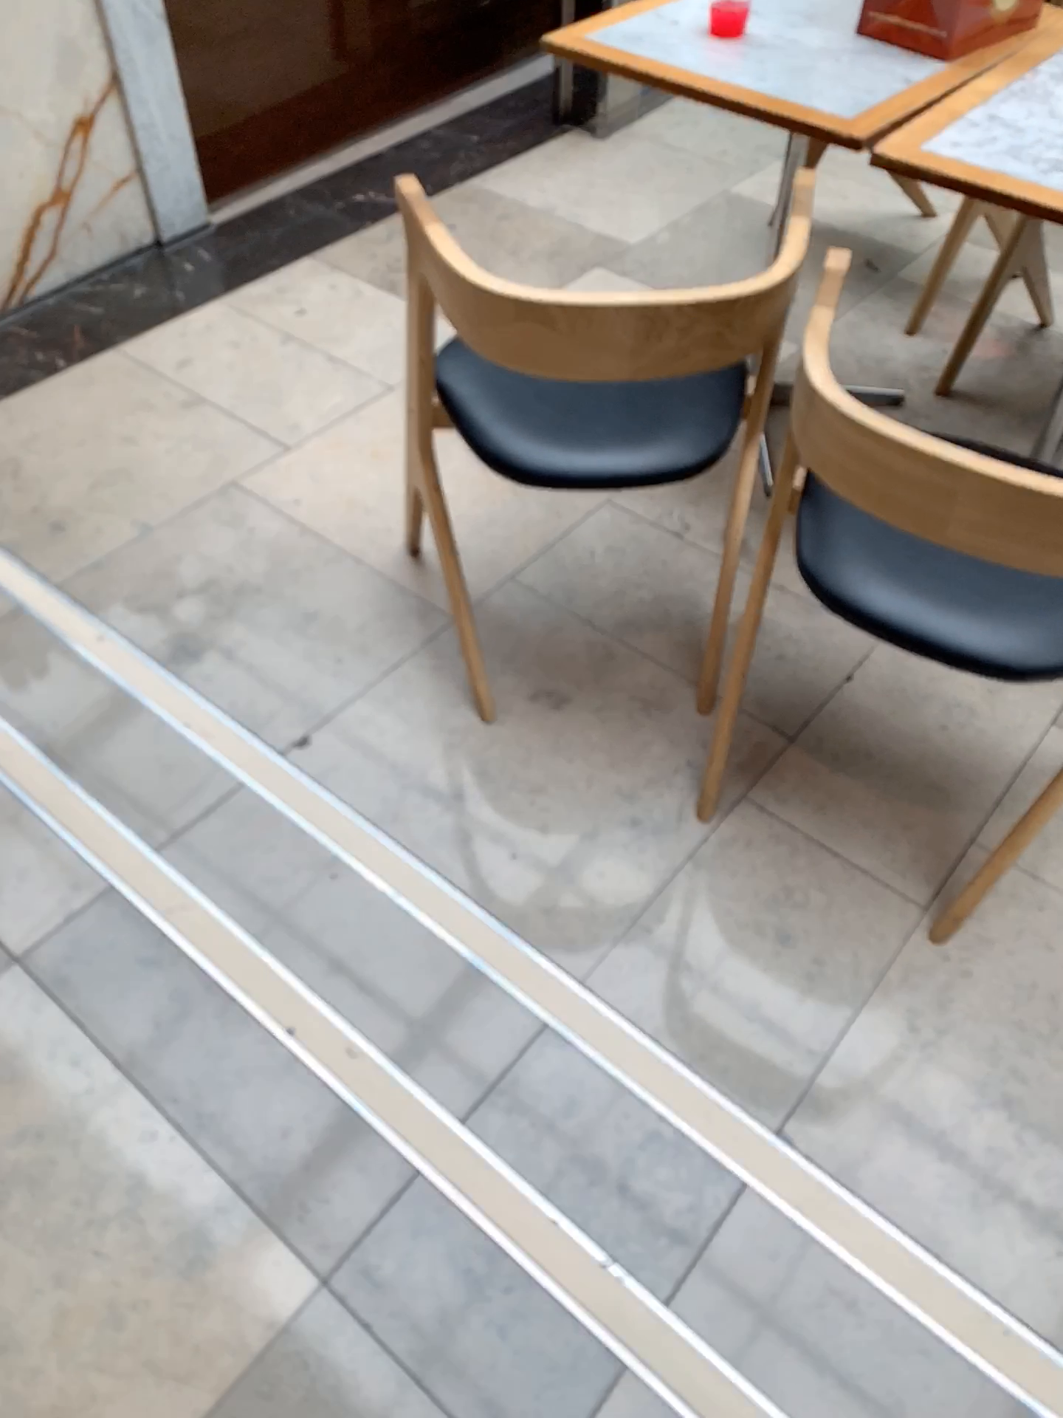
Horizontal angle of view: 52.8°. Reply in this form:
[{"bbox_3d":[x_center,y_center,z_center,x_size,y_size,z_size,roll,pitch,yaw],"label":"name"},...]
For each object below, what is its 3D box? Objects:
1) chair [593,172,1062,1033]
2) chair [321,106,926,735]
[{"bbox_3d":[0.503,-0.132,1.335,0.635,0.717,0.532,26,53,21],"label":"chair"},{"bbox_3d":[0.081,-0.397,1.562,0.643,0.708,0.504,-3,48,-3],"label":"chair"}]
